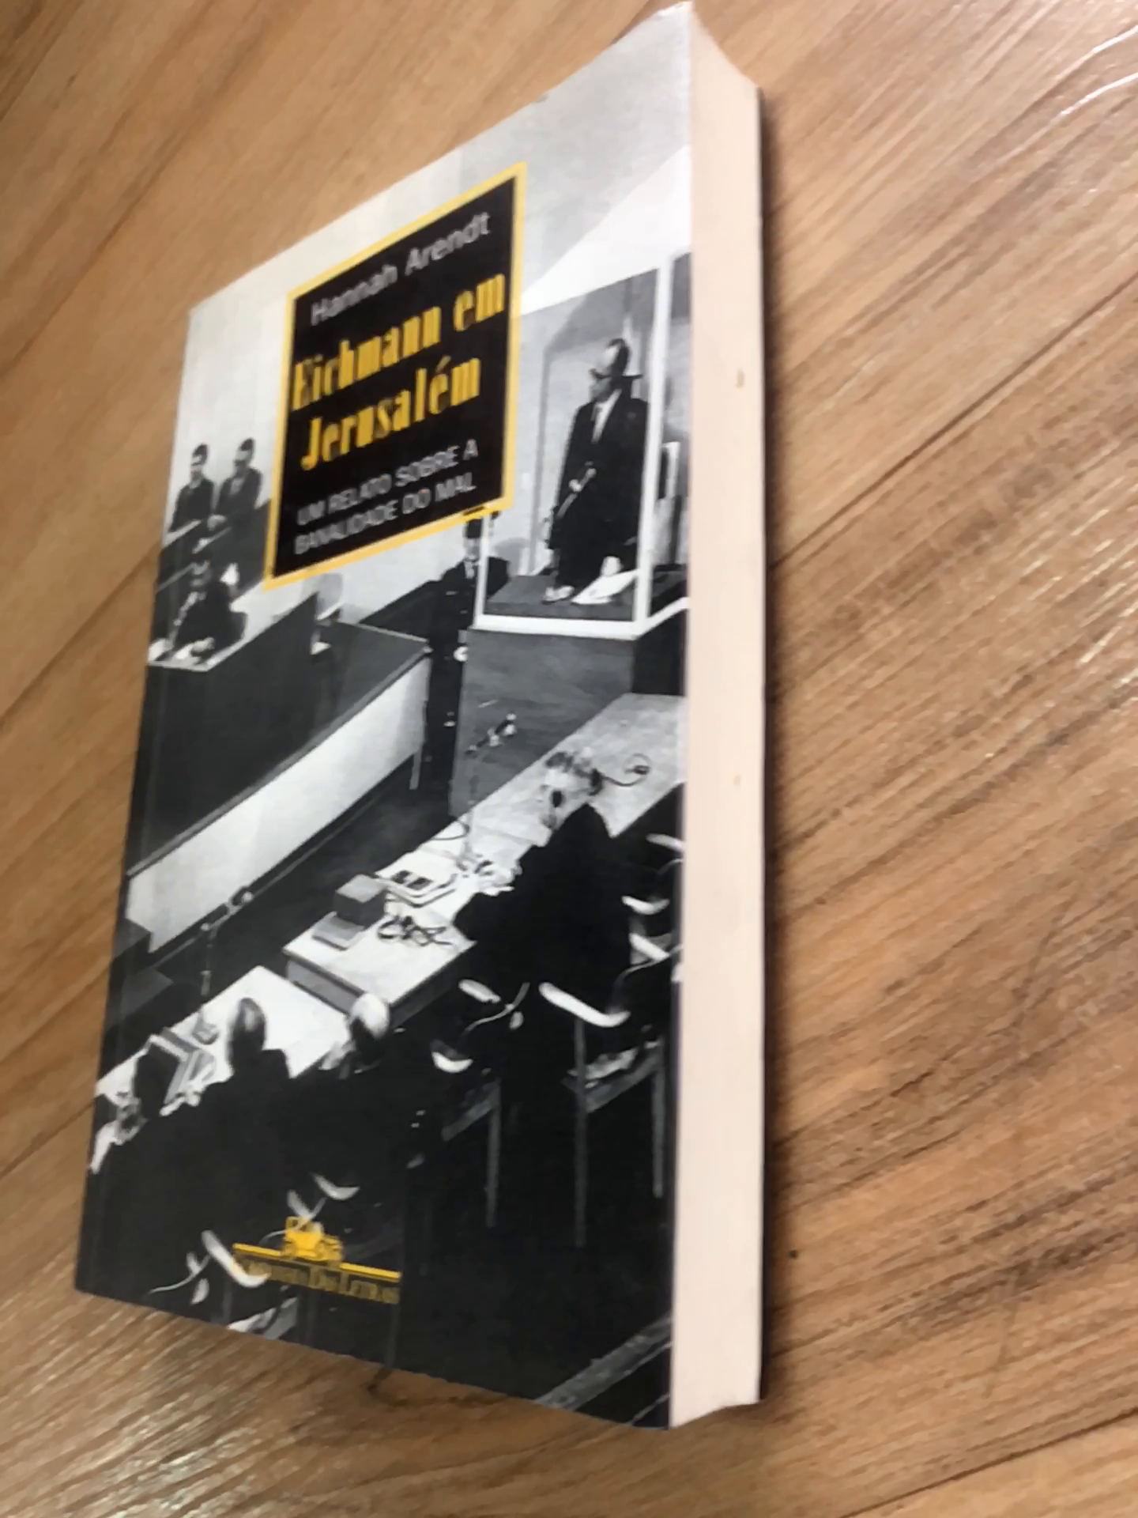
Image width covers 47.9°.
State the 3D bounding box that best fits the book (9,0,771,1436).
[{"bbox_3d":[-0.035,-0.011,0.221,0.145,0.023,0.203,-10,71,38],"label":"book"}]
